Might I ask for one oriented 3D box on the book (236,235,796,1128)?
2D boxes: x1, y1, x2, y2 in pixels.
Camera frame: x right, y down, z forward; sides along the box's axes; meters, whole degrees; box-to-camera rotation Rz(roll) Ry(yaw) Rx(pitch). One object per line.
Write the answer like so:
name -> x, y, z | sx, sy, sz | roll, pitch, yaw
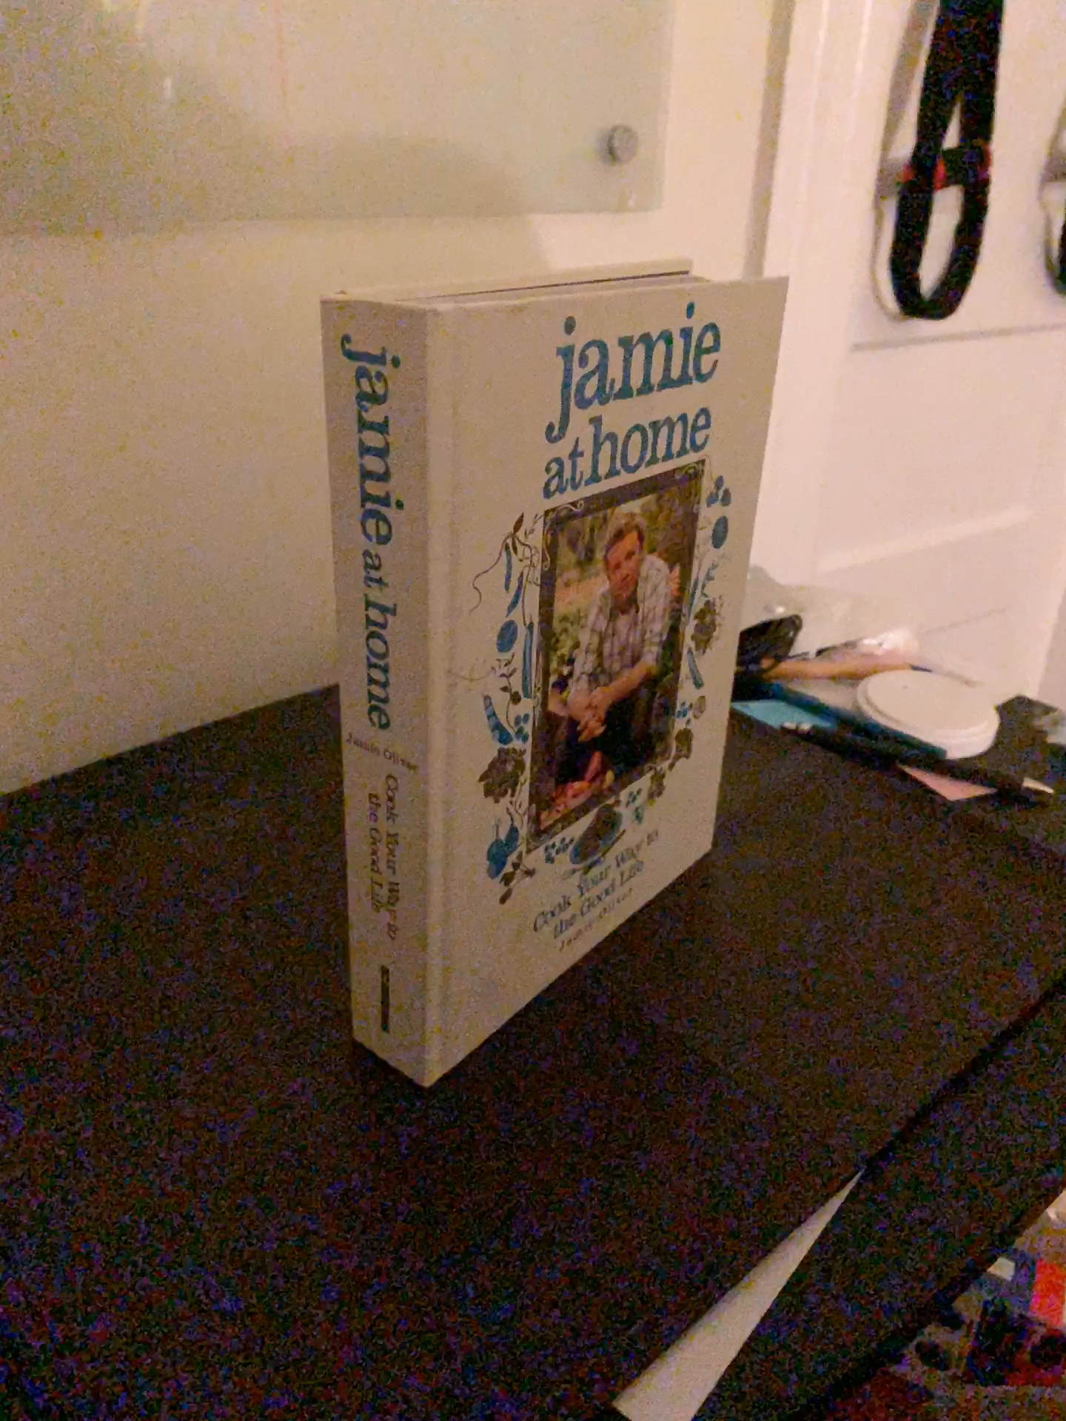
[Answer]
book -> 0.005, -0.022, 0.401 | 0.050, 0.268, 0.211 | 22, 32, 33
